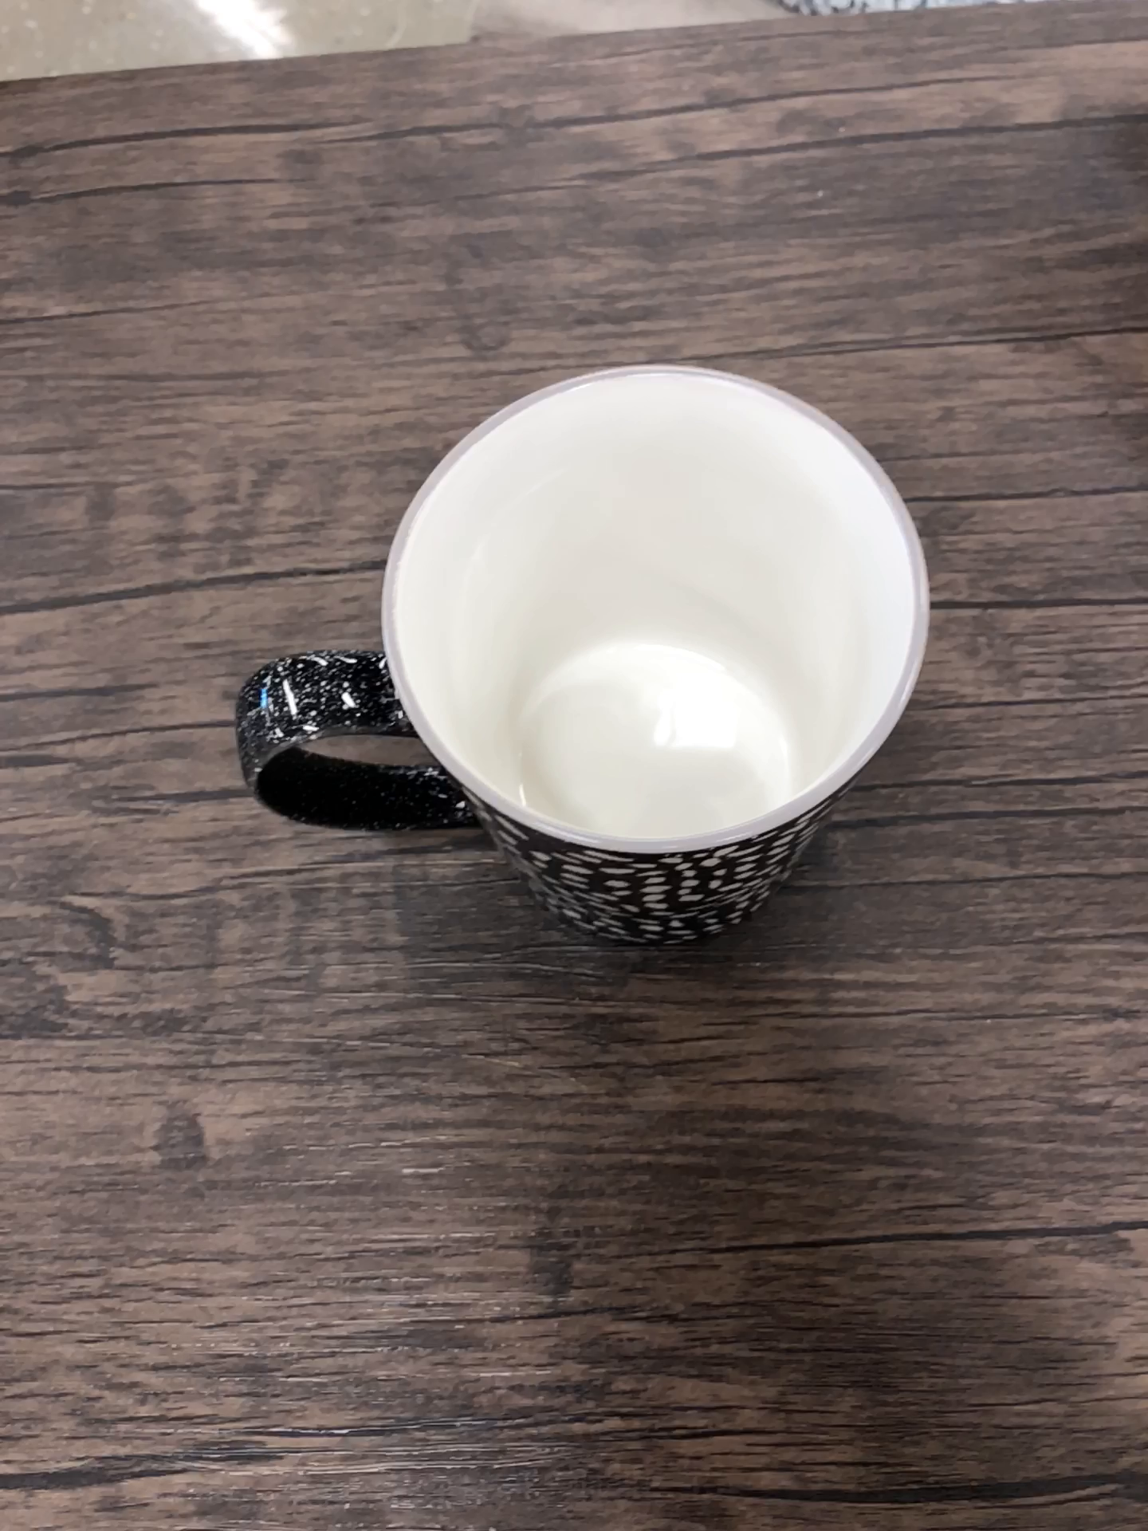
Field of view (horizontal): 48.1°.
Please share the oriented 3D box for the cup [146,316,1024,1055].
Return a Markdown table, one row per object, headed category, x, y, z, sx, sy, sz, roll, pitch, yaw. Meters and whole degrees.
| category | x | y | z | sx | sy | sz | roll | pitch | yaw |
| --- | --- | --- | --- | --- | --- | --- | --- | --- | --- |
| cup | -0.001 | -0.009 | 0.274 | 0.140 | 0.100 | 0.100 | -11 | 68 | -1 |
